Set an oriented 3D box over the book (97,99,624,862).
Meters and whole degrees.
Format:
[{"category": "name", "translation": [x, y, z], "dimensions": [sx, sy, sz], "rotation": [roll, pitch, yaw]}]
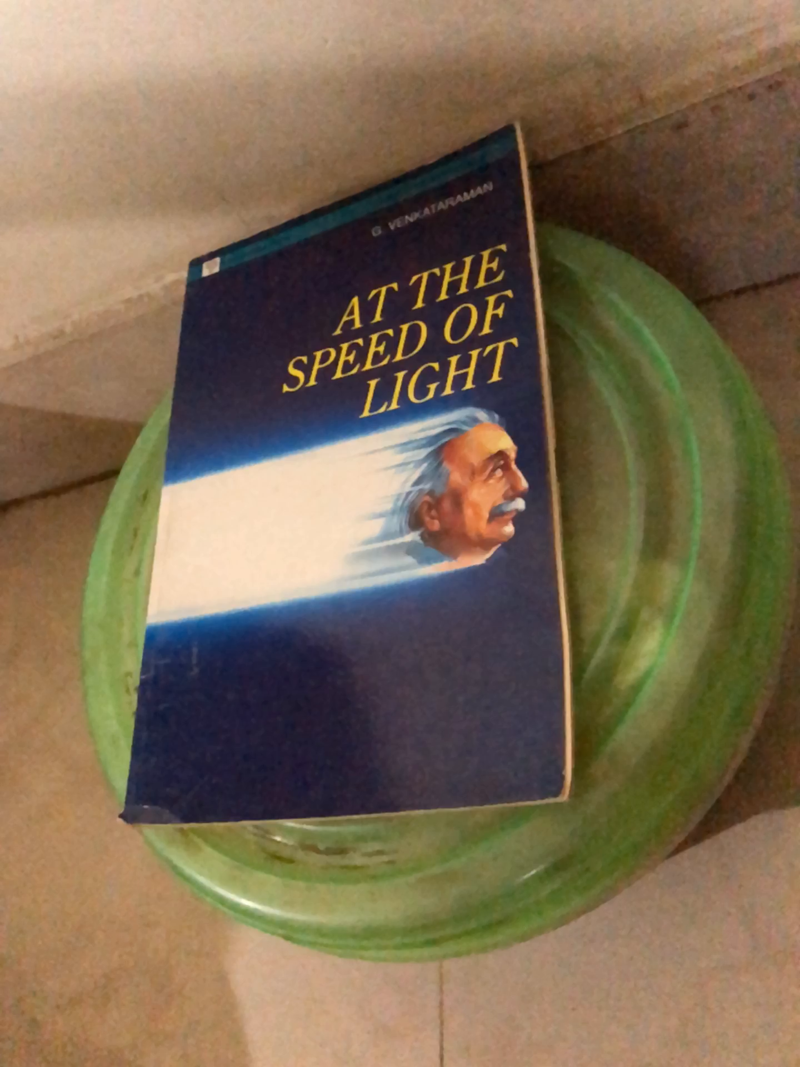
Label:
[{"category": "book", "translation": [-0.019, -0.022, 0.287], "dimensions": [0.150, 0.020, 0.230], "rotation": [-13, 62, 25]}]
